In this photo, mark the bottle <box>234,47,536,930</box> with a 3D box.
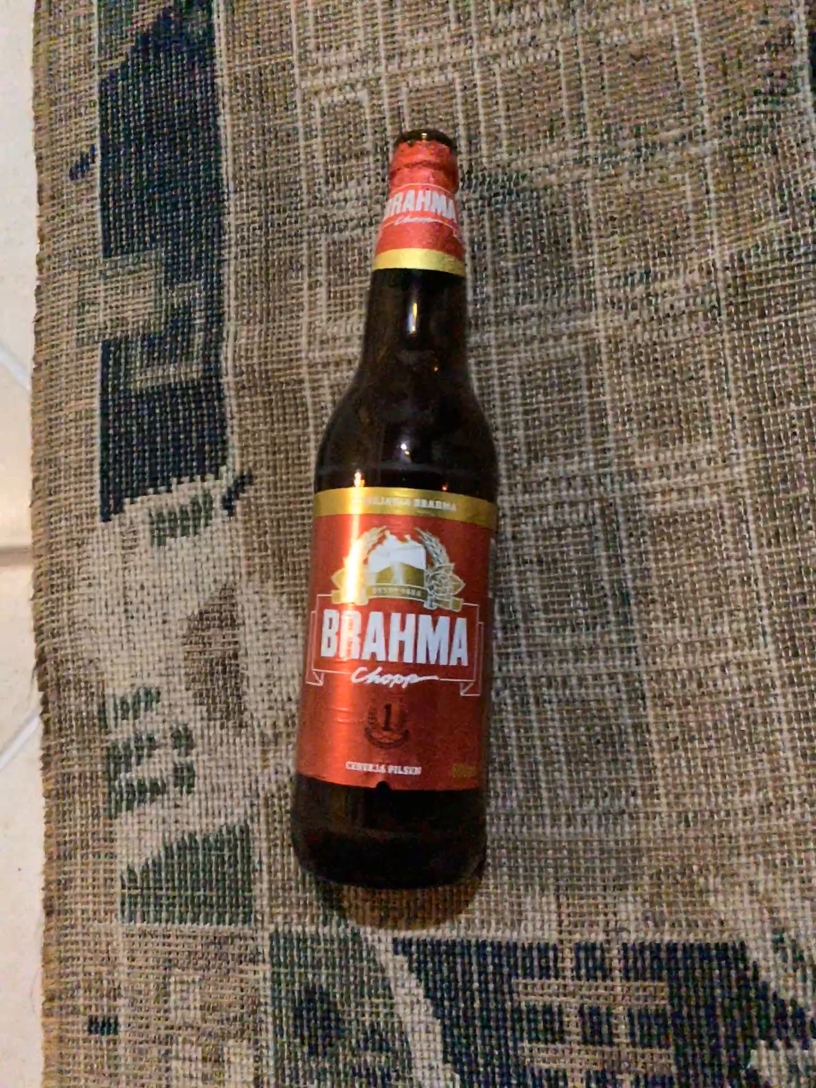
[{"bbox_3d":[-0.001,-0.024,0.297,0.080,0.060,0.280,2,83,9],"label":"bottle"}]
